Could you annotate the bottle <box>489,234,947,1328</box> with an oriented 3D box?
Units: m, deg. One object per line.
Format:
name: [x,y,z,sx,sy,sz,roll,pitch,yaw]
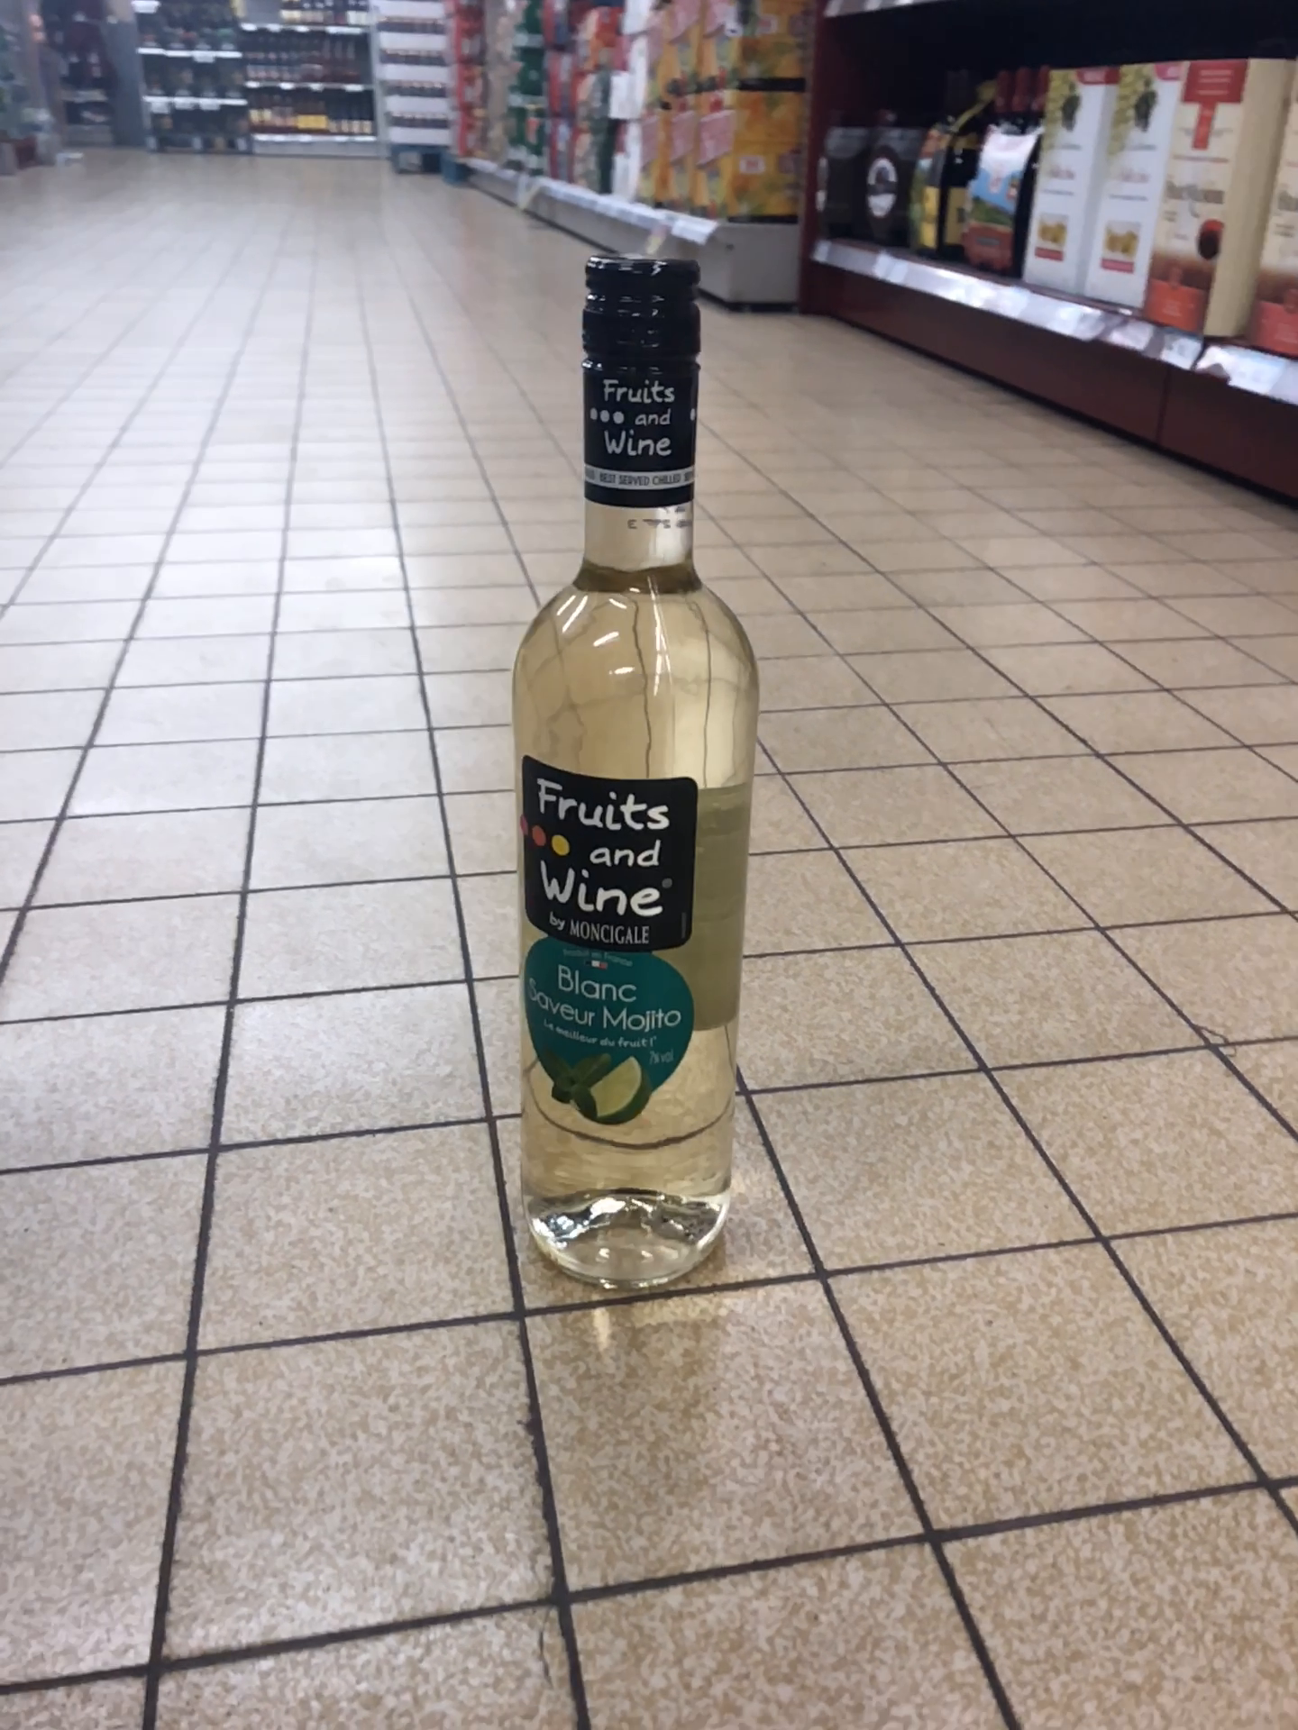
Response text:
bottle: [0.017,-0.017,0.415,0.100,0.298,0.091,5,26,7]
